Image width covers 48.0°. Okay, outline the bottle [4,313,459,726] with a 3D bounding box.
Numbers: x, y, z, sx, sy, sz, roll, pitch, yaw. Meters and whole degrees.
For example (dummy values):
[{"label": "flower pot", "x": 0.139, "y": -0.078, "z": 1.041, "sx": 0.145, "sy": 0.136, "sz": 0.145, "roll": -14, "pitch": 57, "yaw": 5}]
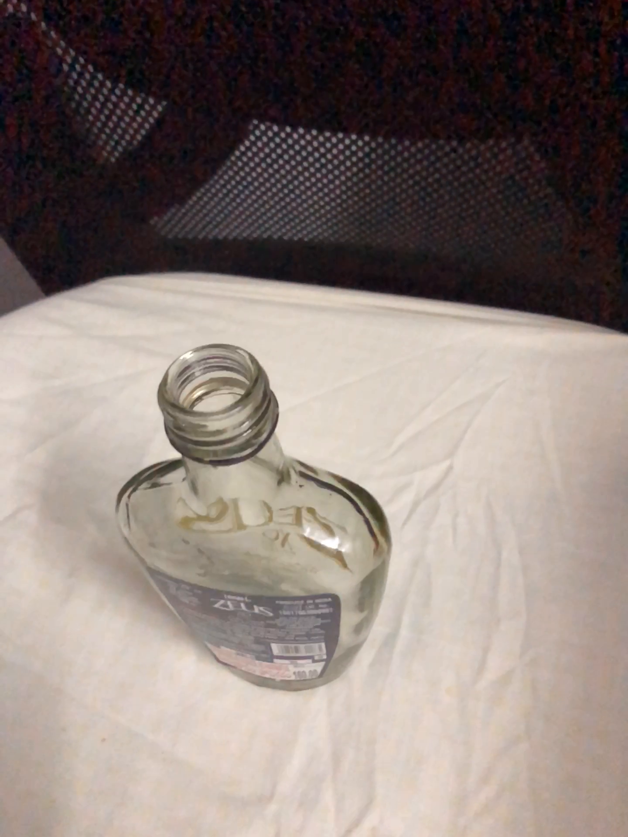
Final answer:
[{"label": "bottle", "x": -0.011, "y": 0.045, "z": 0.220, "sx": 0.090, "sy": 0.159, "sz": 0.050, "roll": 7, "pitch": 57, "yaw": 9}]
